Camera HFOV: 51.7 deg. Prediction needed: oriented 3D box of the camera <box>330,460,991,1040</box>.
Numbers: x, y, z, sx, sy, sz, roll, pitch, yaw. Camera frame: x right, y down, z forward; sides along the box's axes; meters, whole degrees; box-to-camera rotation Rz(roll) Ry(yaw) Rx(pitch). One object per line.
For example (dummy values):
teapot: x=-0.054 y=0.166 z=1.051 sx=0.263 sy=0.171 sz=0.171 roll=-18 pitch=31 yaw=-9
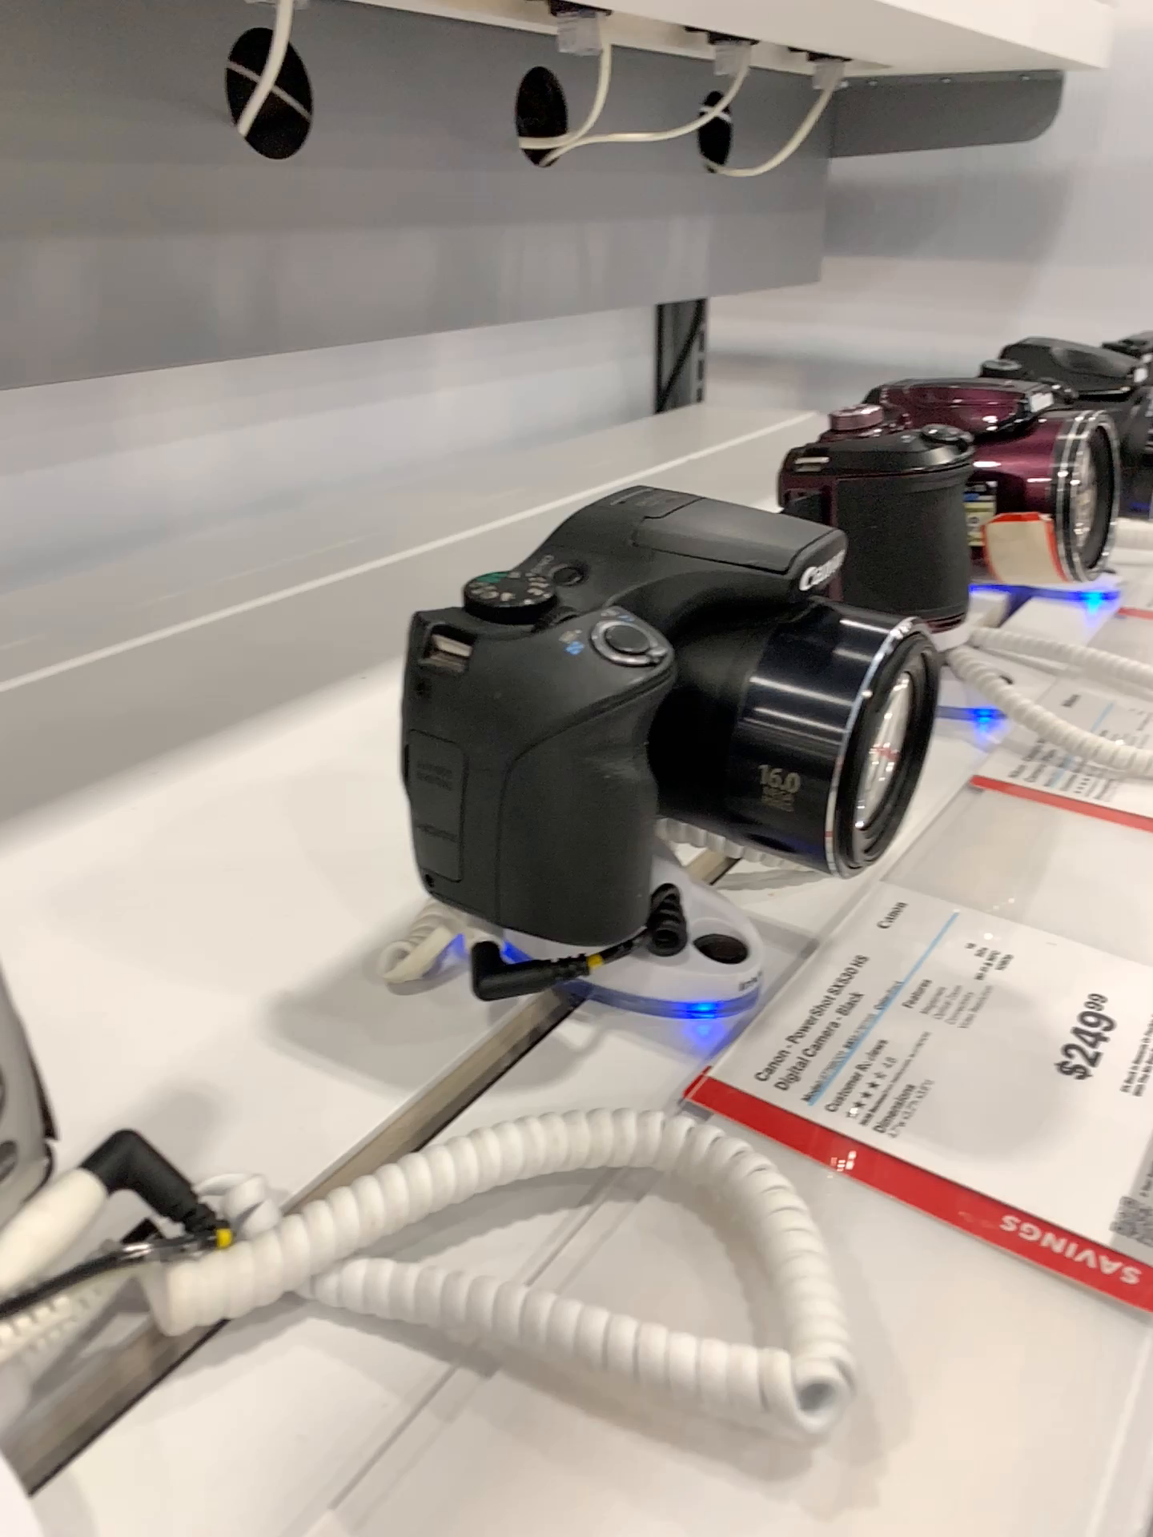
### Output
camera: x=0.024 y=-0.017 z=0.284 sx=0.100 sy=0.080 sz=0.120 roll=17 pitch=31 yaw=31
